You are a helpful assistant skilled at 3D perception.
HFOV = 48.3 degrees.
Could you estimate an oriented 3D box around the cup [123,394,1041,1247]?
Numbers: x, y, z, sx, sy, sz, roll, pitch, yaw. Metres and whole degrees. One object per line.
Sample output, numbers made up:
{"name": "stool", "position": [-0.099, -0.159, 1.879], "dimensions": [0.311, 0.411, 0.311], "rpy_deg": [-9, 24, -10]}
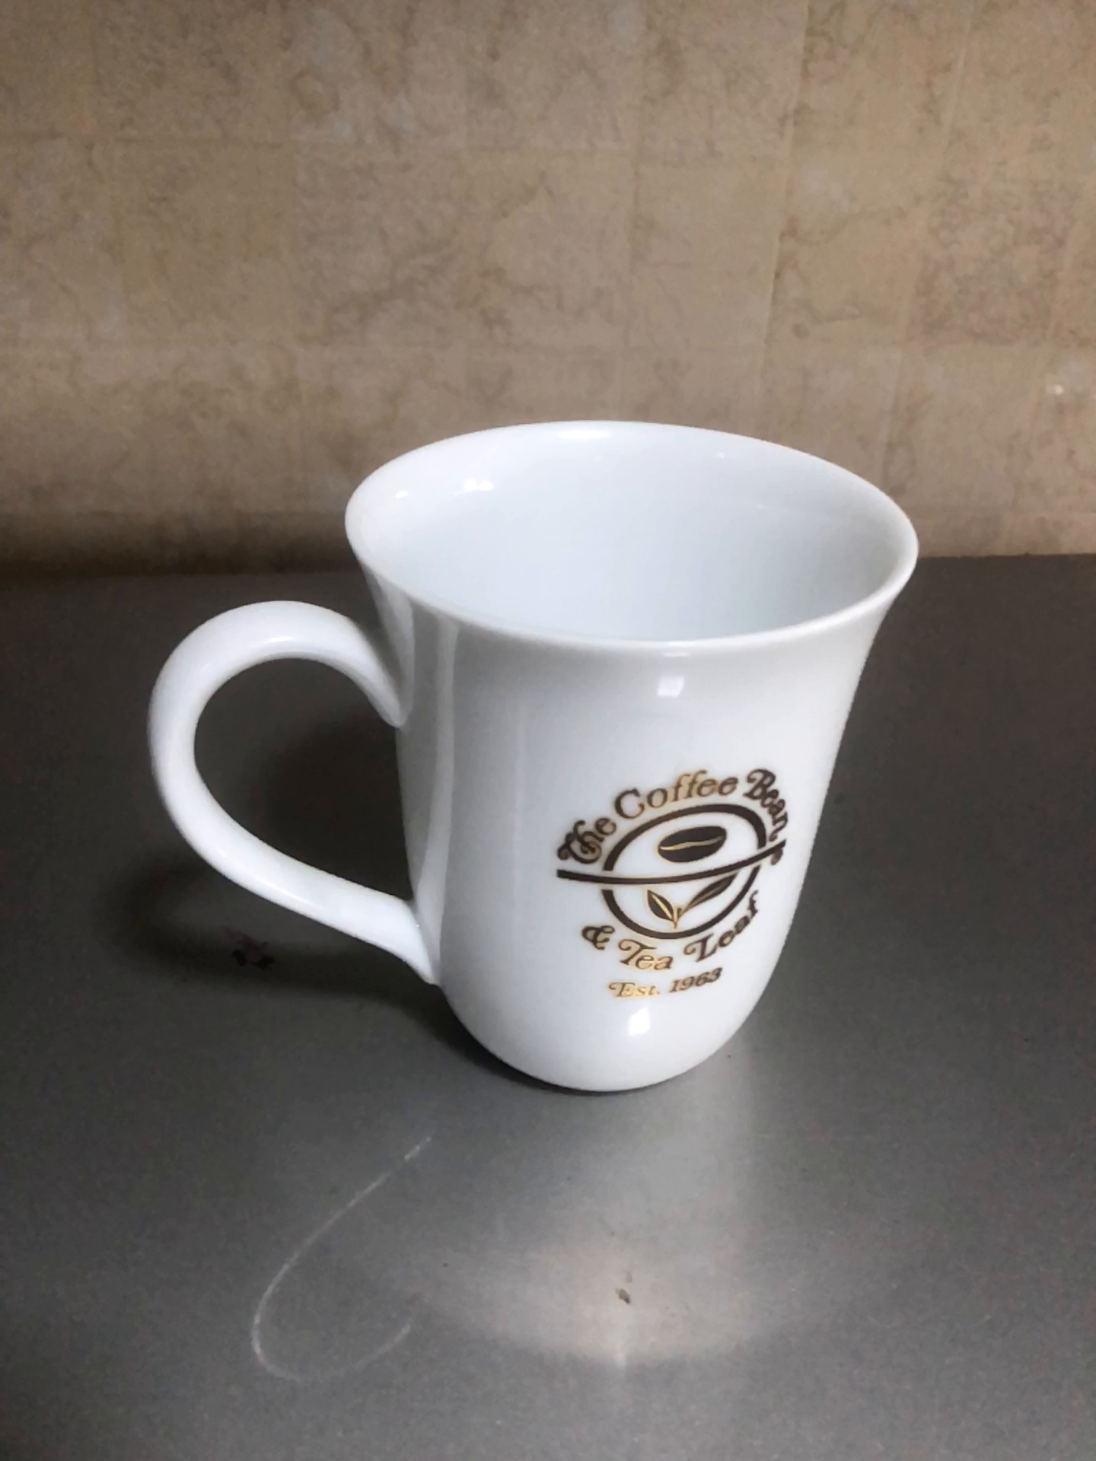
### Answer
{"name": "cup", "position": [-0.002, 0.008, 0.233], "dimensions": [0.130, 0.109, 0.091], "rpy_deg": [-9, 34, -18]}
